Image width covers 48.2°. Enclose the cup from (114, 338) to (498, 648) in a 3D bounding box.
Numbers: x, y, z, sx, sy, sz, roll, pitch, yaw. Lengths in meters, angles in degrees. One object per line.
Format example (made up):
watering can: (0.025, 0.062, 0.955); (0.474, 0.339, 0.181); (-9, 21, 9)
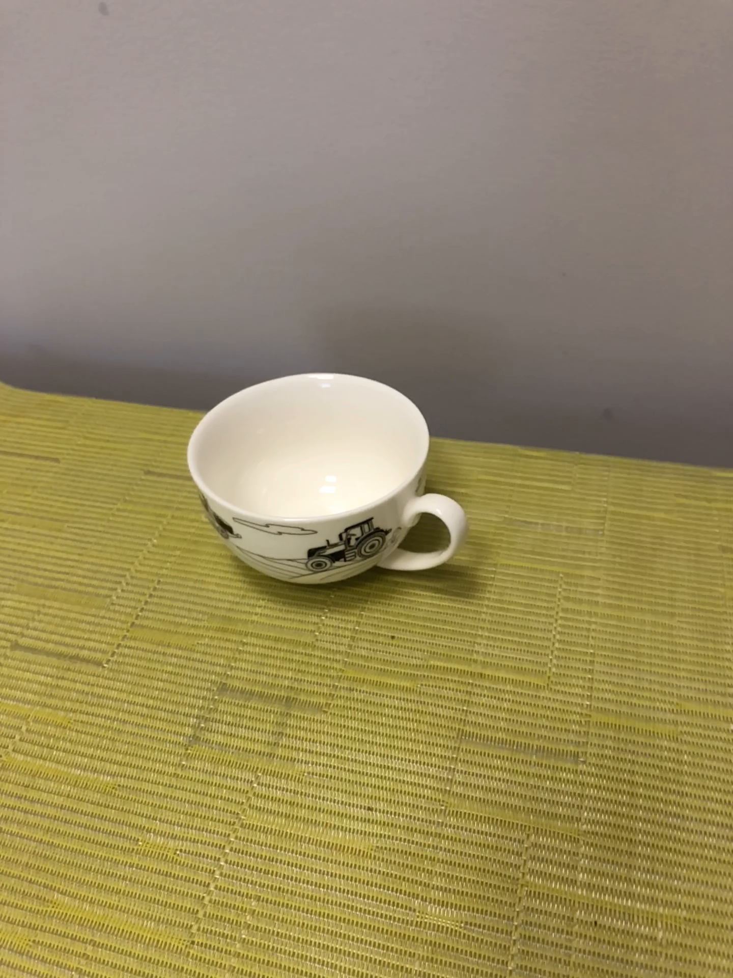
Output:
cup: (-0.020, -0.005, 0.320); (0.113, 0.051, 0.089); (17, 43, 24)
